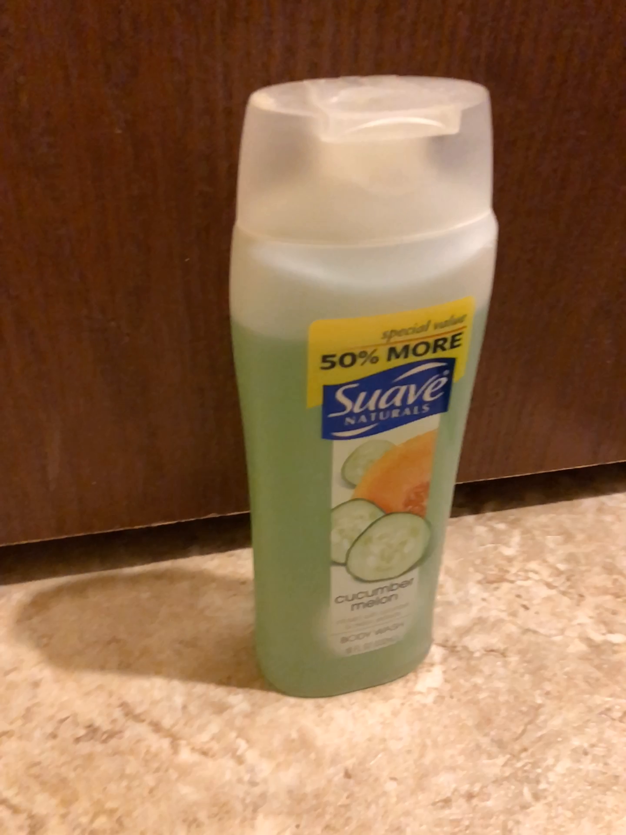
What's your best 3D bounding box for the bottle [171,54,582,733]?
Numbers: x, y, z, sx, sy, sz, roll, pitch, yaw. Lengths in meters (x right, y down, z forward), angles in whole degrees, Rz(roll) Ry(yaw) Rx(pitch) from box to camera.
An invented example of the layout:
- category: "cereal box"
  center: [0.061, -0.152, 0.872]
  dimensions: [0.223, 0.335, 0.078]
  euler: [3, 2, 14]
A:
- category: "bottle"
  center: [0.013, 0.012, 0.245]
  dimensions: [0.090, 0.239, 0.050]
  euler: [-11, 38, -14]
